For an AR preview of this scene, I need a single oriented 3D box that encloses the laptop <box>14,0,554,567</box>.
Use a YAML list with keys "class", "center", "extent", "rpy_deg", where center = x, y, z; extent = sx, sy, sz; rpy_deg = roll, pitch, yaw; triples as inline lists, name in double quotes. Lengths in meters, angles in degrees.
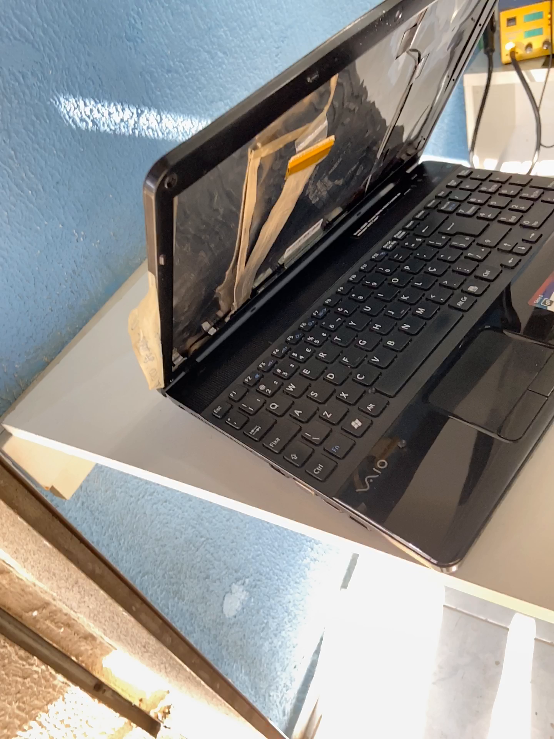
- class: "laptop"
  center: [0.088, -0.127, 0.377]
  extent: [0.242, 0.193, 0.365]
  rpy_deg: [24, 59, 39]
